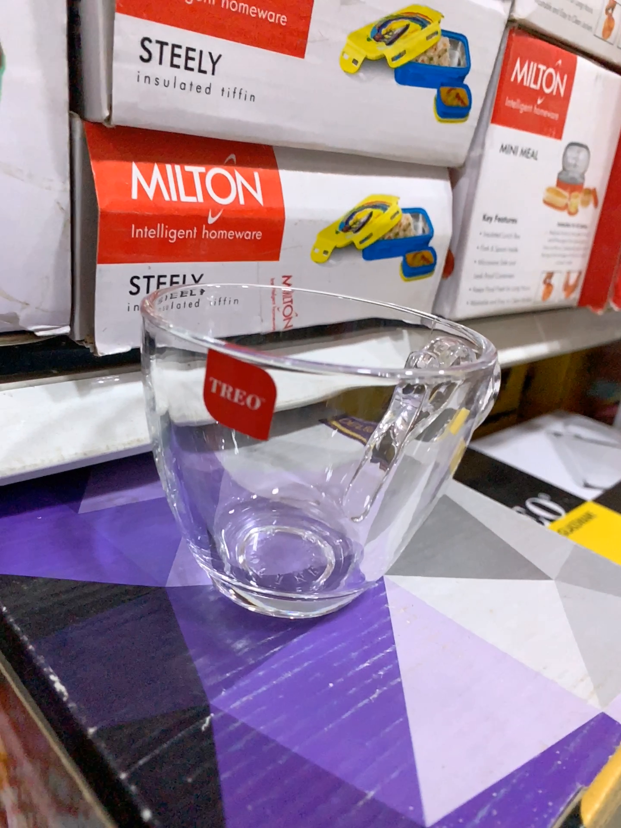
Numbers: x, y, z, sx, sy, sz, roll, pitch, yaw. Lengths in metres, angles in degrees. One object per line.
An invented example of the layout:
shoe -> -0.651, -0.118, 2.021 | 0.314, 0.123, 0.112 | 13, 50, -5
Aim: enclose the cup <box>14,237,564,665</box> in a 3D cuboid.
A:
cup -> -0.005, -0.007, 0.171 | 0.110, 0.060, 0.080 | -14, 33, -43
